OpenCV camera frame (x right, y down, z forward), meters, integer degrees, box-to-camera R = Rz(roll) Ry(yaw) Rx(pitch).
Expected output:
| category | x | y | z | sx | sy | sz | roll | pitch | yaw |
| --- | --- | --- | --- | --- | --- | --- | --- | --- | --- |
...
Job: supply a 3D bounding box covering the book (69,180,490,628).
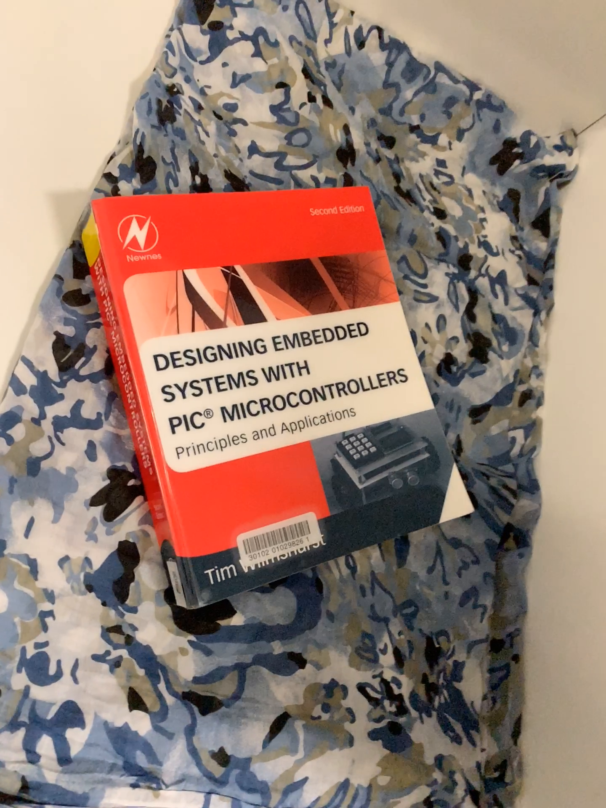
| category | x | y | z | sx | sy | sz | roll | pitch | yaw |
| --- | --- | --- | --- | --- | --- | --- | --- | --- | --- |
| book | -0.010 | -0.017 | 0.395 | 0.210 | 0.050 | 0.237 | -13 | 84 | -27 |
